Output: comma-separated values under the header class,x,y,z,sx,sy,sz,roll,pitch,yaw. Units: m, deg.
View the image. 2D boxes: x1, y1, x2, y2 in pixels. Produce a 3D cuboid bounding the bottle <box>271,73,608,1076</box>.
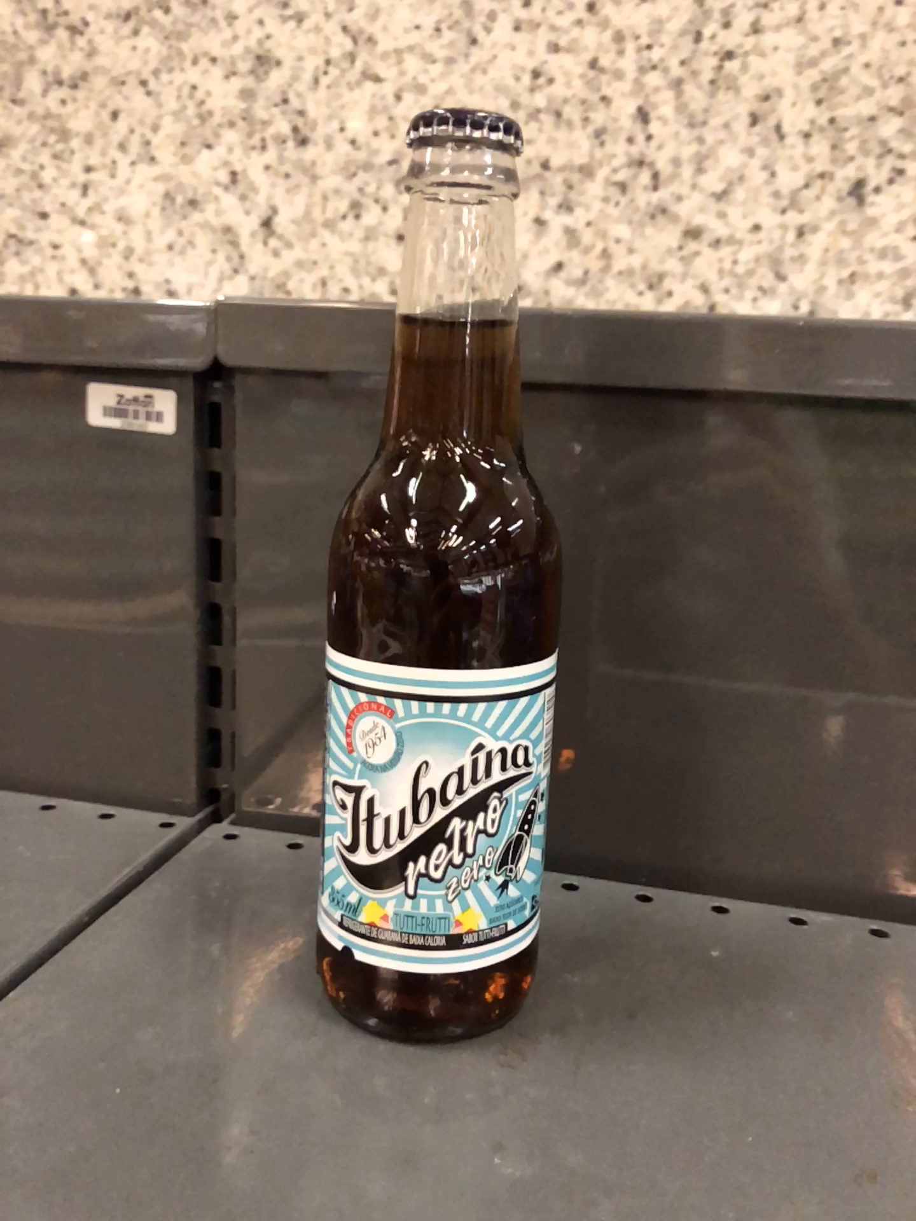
class,x,y,z,sx,sy,sz,roll,pitch,yaw
bottle,-0.008,-0.002,0.267,0.070,0.239,0.050,3,12,0
